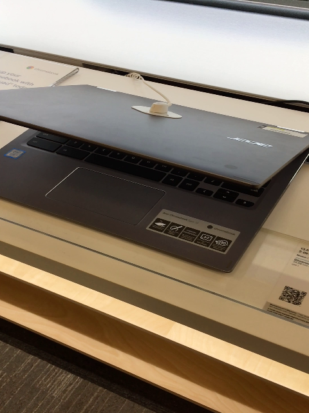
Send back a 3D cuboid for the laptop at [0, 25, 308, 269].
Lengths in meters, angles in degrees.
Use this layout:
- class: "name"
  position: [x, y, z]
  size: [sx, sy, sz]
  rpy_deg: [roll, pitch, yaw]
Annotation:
- class: "laptop"
  position: [-0.016, -0.081, 0.440]
  size: [0.317, 0.100, 0.211]
  rpy_deg: [20, 55, 18]
